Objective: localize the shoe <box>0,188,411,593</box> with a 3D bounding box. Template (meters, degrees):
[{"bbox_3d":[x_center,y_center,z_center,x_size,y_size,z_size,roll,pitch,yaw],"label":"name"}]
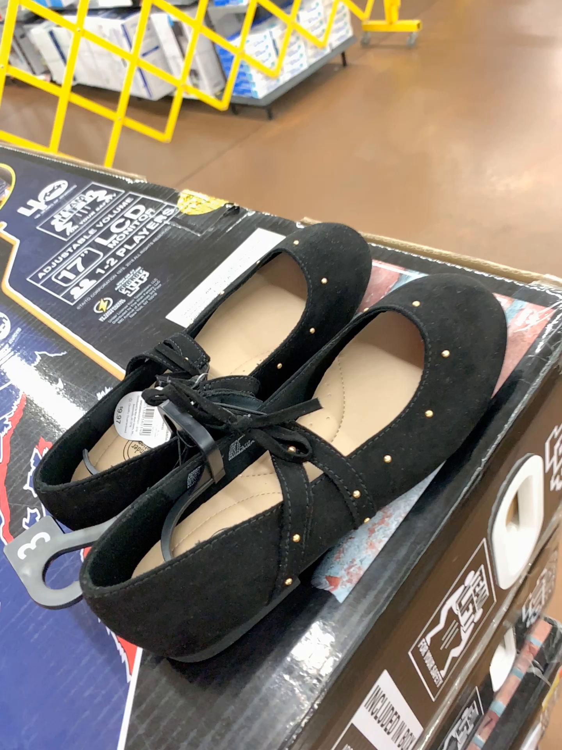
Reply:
[{"bbox_3d":[-0.037,-0.008,0.350,0.090,0.070,0.250,28,63,38],"label":"shoe"}]

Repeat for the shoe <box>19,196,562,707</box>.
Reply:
[{"bbox_3d":[0.016,0.019,0.272,0.240,0.070,0.090,-38,46,-16],"label":"shoe"}]
